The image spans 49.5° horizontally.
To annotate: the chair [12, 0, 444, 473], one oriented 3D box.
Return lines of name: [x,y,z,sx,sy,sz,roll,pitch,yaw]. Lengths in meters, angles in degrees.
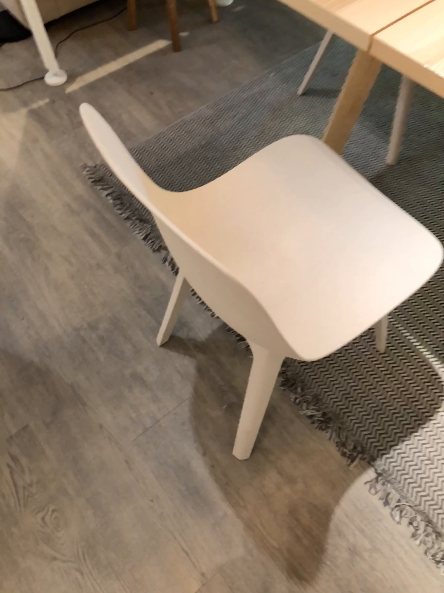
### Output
chair: [0.086,-0.091,0.922,0.511,0.766,0.462,-34,64,-16]
